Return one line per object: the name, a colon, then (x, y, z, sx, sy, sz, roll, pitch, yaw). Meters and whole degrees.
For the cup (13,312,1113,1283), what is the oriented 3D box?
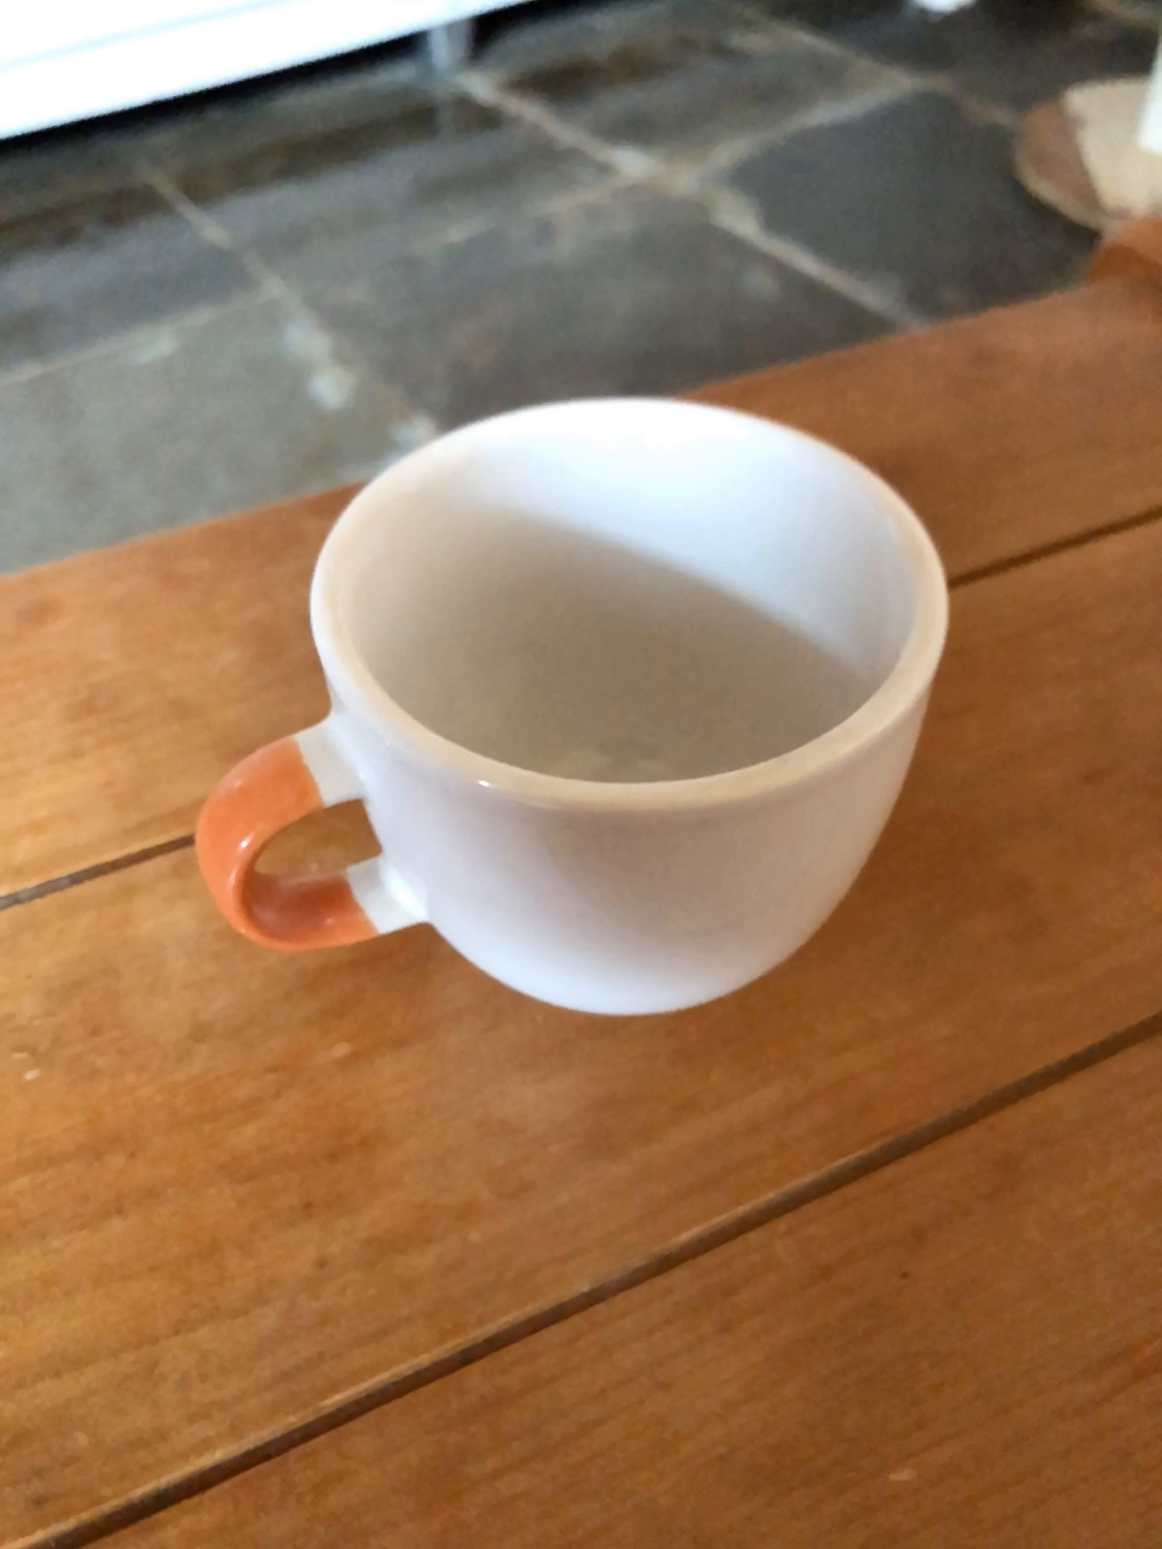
cup: (-0.006, -0.005, 0.188, 0.110, 0.060, 0.090, -22, 50, -18)
